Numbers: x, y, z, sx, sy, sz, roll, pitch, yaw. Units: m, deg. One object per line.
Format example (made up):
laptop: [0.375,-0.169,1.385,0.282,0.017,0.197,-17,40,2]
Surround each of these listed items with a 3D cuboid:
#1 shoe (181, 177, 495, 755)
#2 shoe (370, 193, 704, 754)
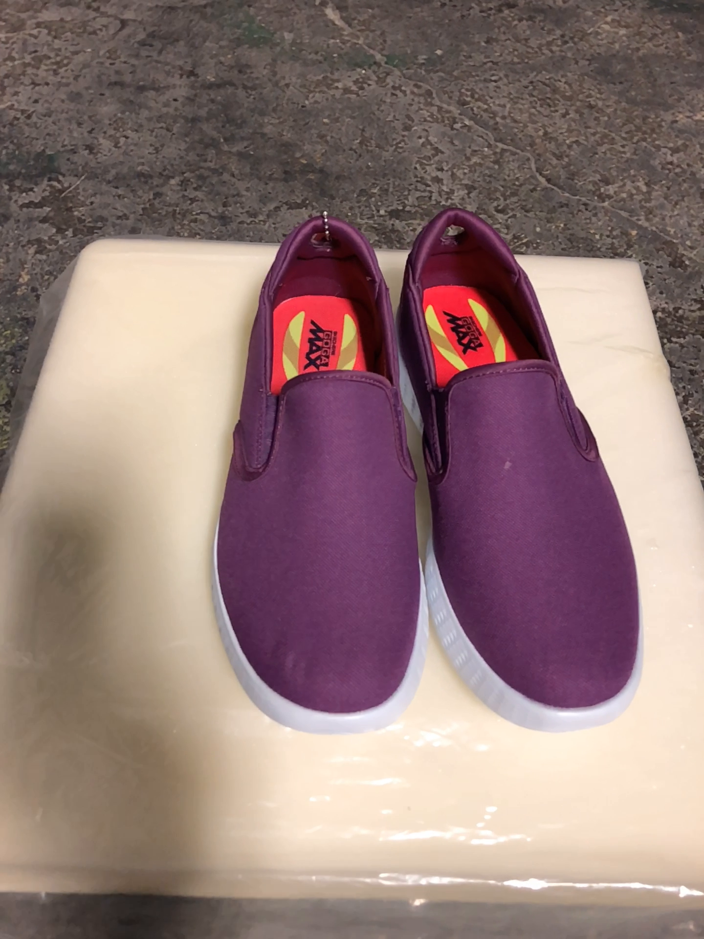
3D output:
shoe: [-0.013,-0.017,0.358,0.100,0.089,0.262,-2,55,-4]
shoe: [0.077,-0.012,0.354,0.100,0.089,0.242,-5,55,-6]
